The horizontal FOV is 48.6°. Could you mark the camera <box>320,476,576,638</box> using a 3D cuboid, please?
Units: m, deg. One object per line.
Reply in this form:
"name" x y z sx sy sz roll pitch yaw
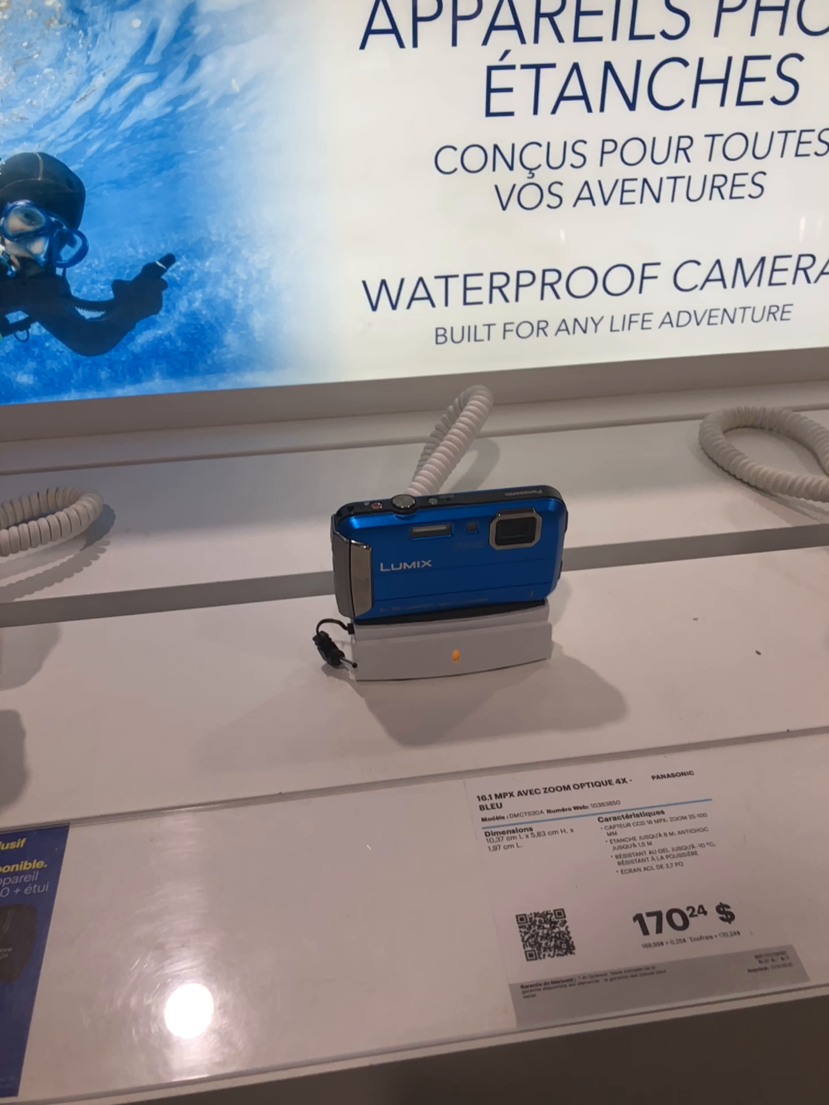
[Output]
"camera" 0.014 0.002 0.403 0.106 0.059 0.020 -6 36 -7
